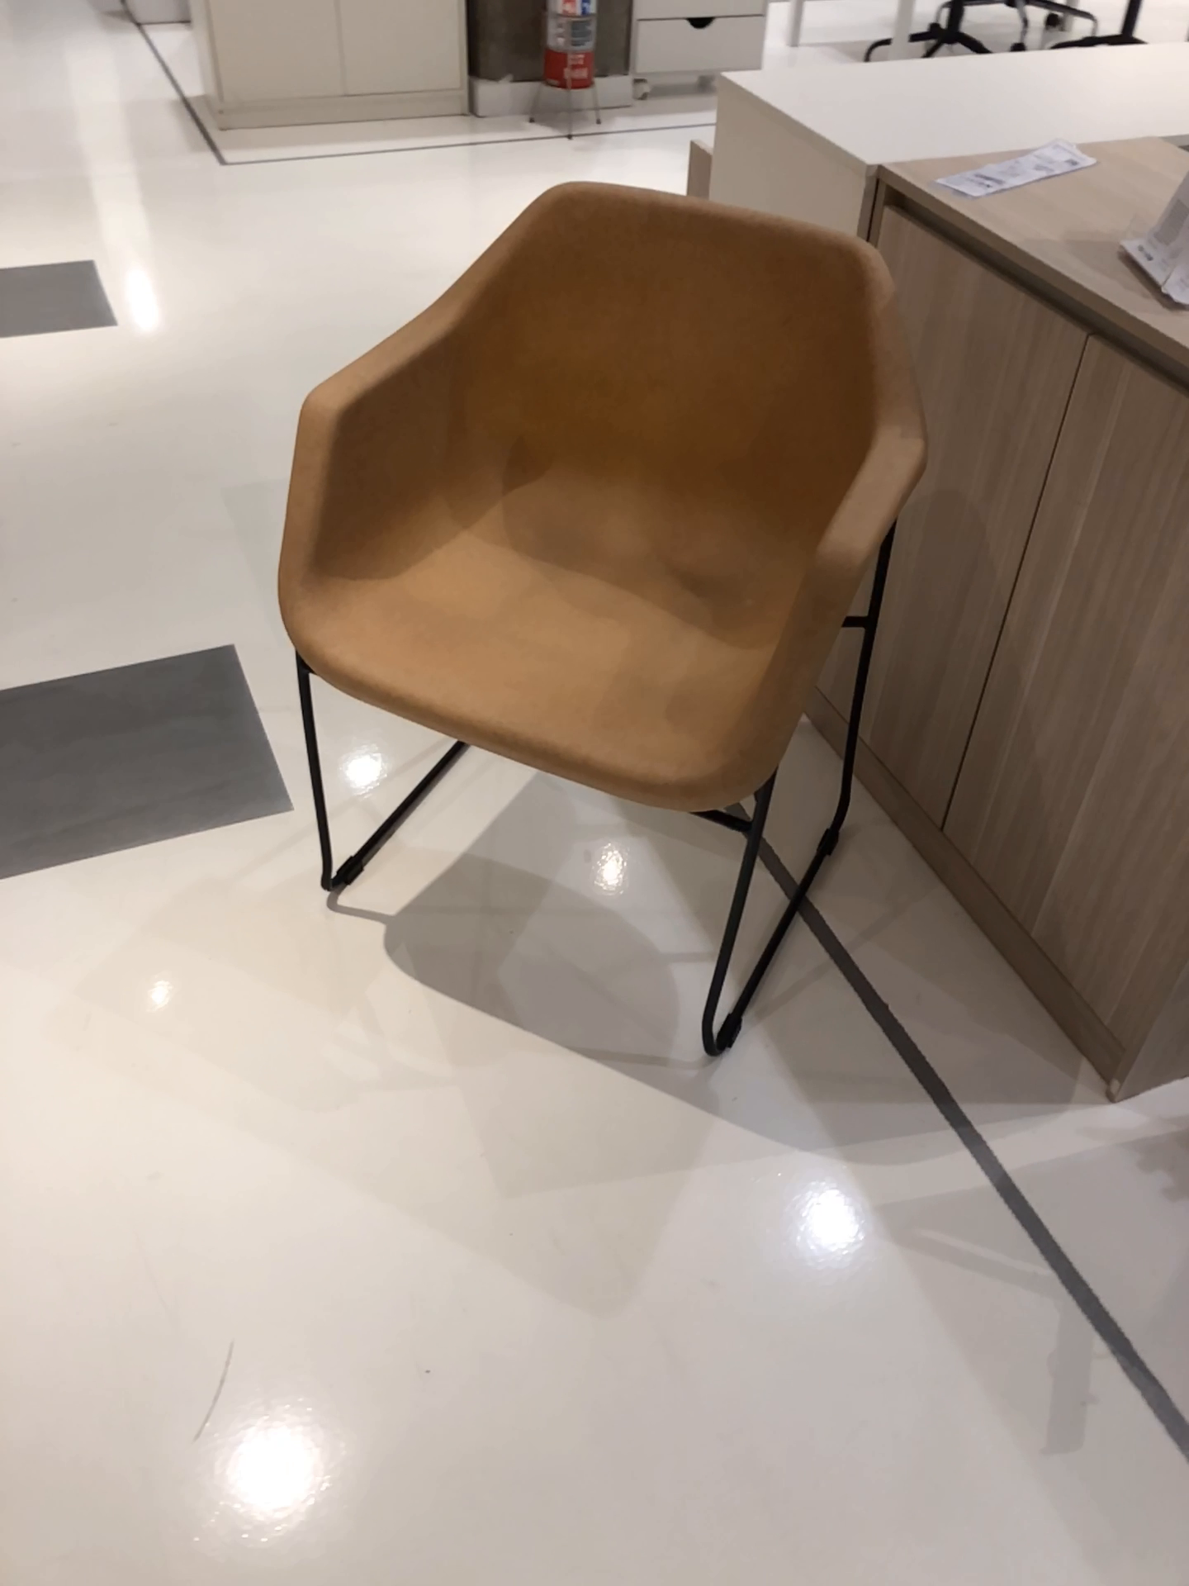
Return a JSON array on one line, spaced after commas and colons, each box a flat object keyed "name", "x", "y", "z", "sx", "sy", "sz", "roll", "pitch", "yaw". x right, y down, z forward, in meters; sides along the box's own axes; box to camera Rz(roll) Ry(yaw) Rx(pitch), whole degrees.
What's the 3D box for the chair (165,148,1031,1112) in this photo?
[{"name": "chair", "x": 0.027, "y": -0.195, "z": 1.401, "sx": 0.591, "sy": 0.704, "sz": 0.574, "roll": 19, "pitch": 44, "yaw": 17}]
